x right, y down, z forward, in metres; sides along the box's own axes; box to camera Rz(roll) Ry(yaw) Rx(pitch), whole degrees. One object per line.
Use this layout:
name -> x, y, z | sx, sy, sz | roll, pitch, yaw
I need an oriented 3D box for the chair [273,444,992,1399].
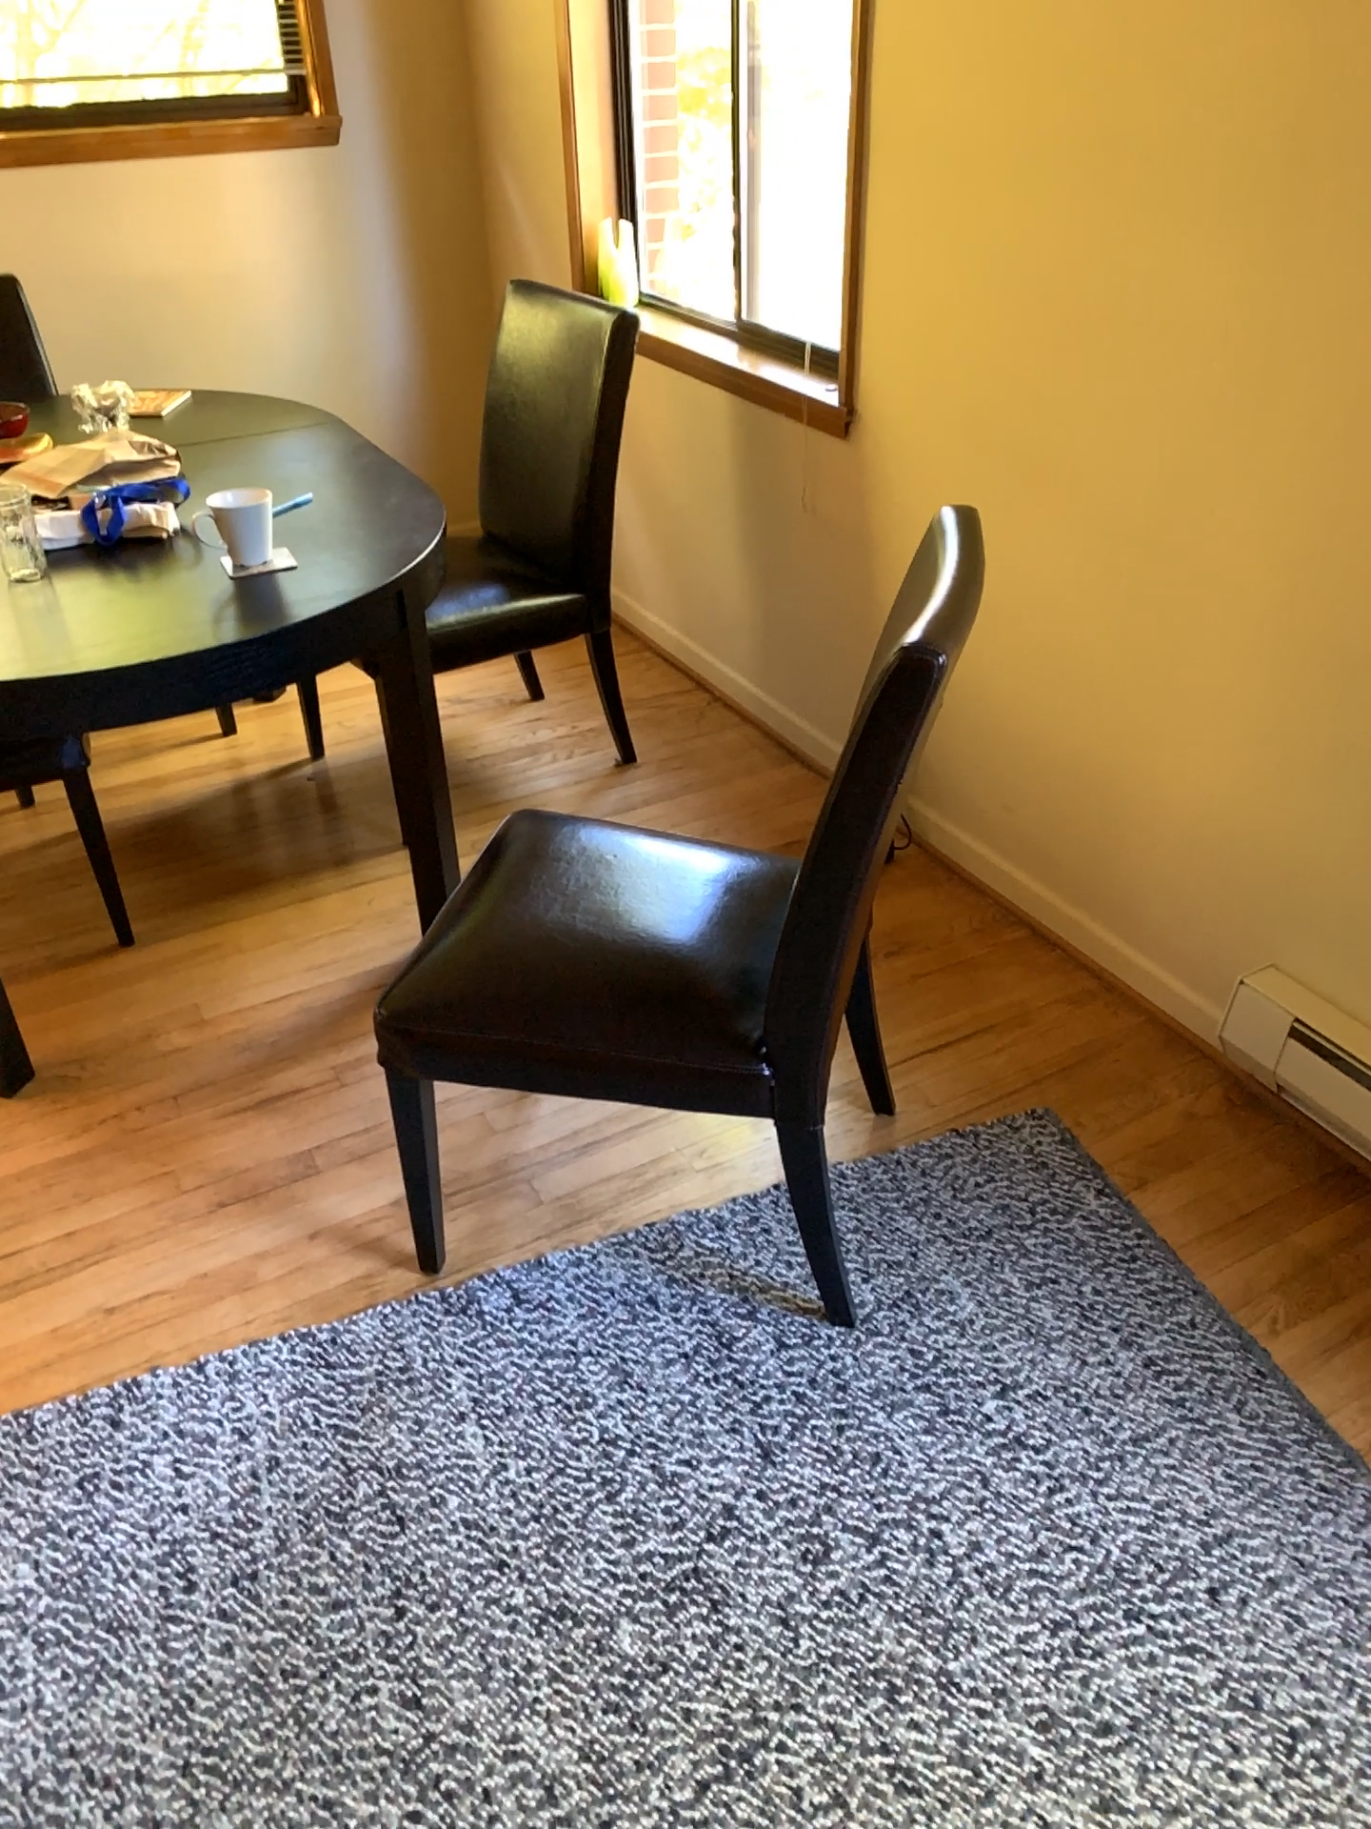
chair -> -0.003, 0.005, 1.810 | 0.671, 1.034, 0.563 | 6, 34, 11
